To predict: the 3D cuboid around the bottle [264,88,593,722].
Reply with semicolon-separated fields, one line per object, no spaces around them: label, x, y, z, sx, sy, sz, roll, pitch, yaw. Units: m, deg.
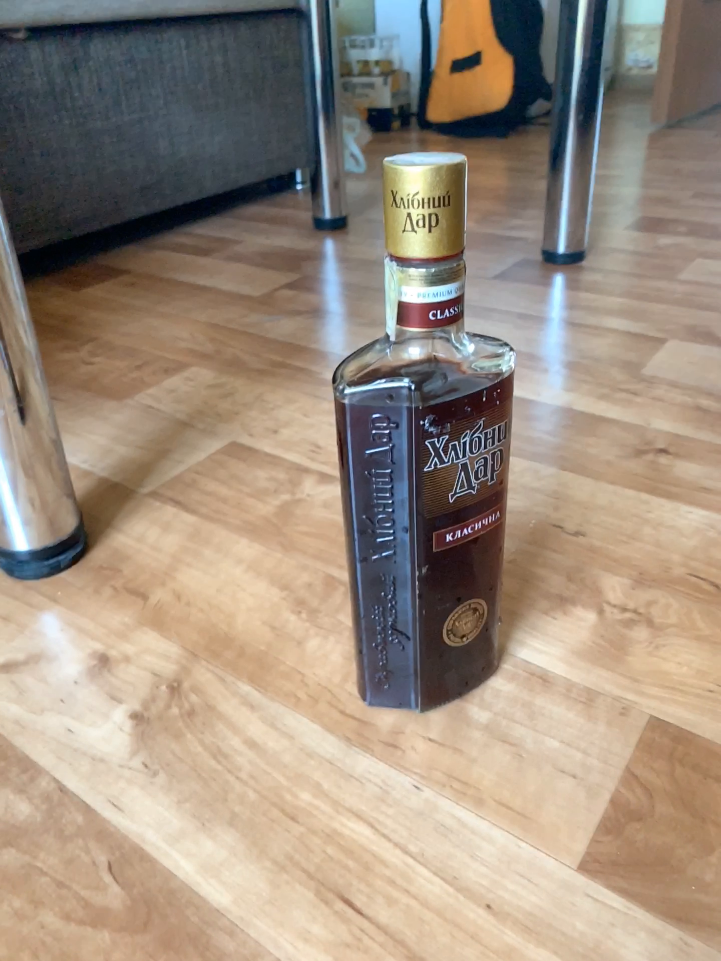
bottle;0.025;-0.016;0.295;0.090;0.239;0.050;-12;33;-13
